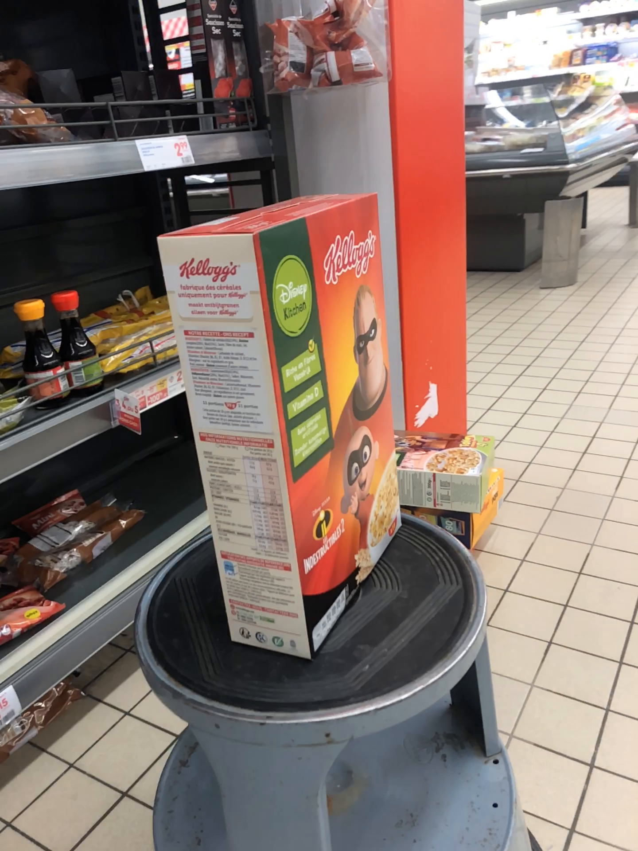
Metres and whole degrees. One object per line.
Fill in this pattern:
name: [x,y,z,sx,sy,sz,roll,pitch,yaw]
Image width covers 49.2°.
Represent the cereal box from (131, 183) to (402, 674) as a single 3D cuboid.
cereal box: [-0.016,-0.010,0.531,0.080,0.308,0.201,5,24,26]
